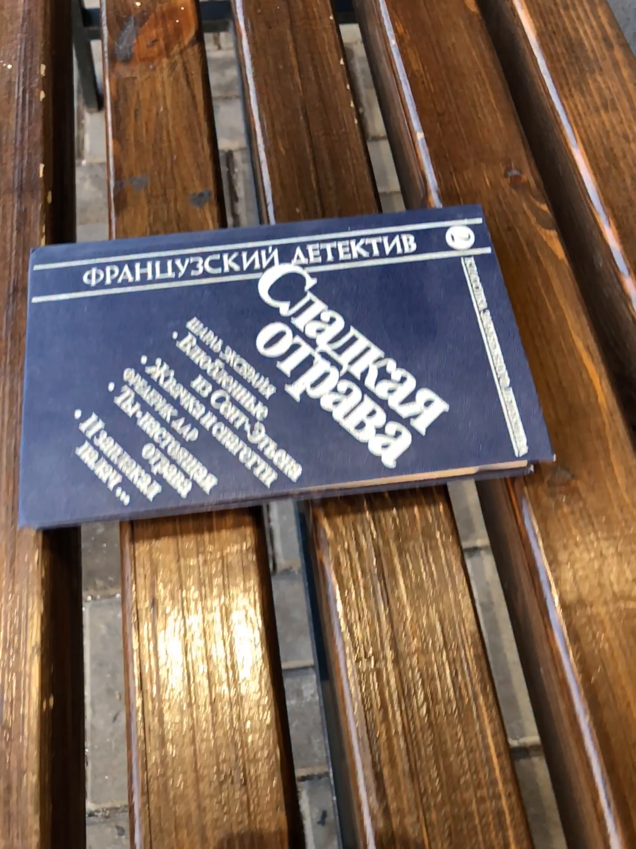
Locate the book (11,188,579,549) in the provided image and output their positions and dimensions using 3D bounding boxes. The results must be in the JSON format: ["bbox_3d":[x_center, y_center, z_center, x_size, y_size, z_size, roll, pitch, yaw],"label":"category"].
[{"bbox_3d":[-0.015,-0.029,0.303,0.211,0.030,0.133,-7,66,-4],"label":"book"}]
